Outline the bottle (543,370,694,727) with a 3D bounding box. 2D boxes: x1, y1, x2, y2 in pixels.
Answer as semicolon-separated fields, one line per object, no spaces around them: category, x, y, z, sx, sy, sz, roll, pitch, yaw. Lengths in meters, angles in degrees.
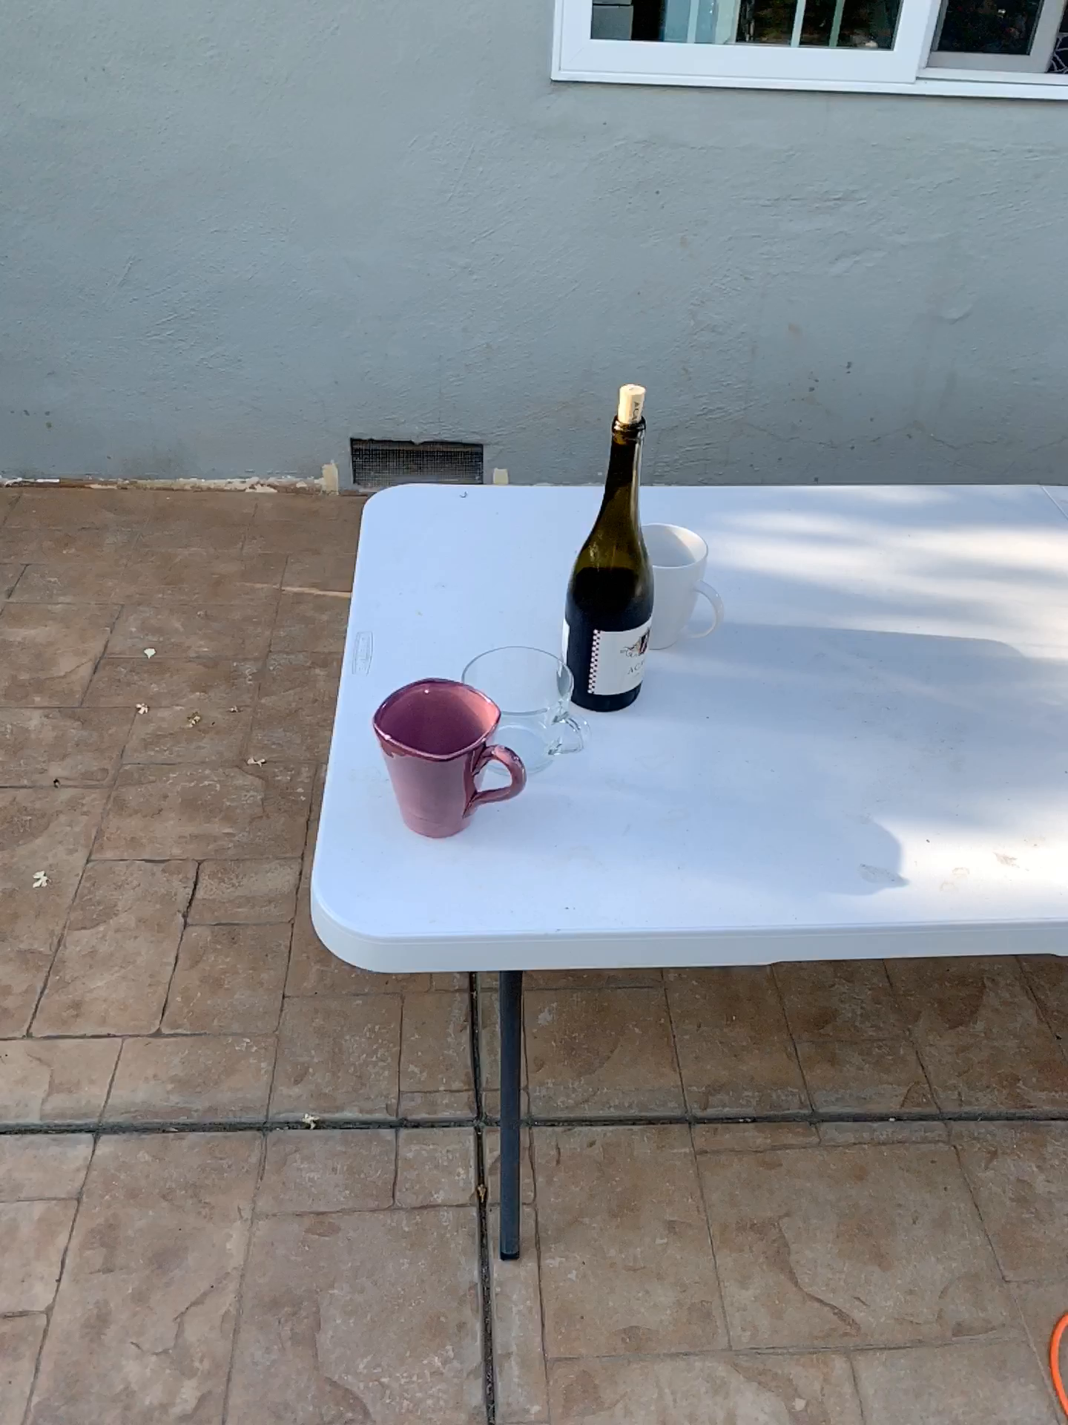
bottle;0.072;-0.142;0.999;0.090;0.308;0.080;15;39;15
